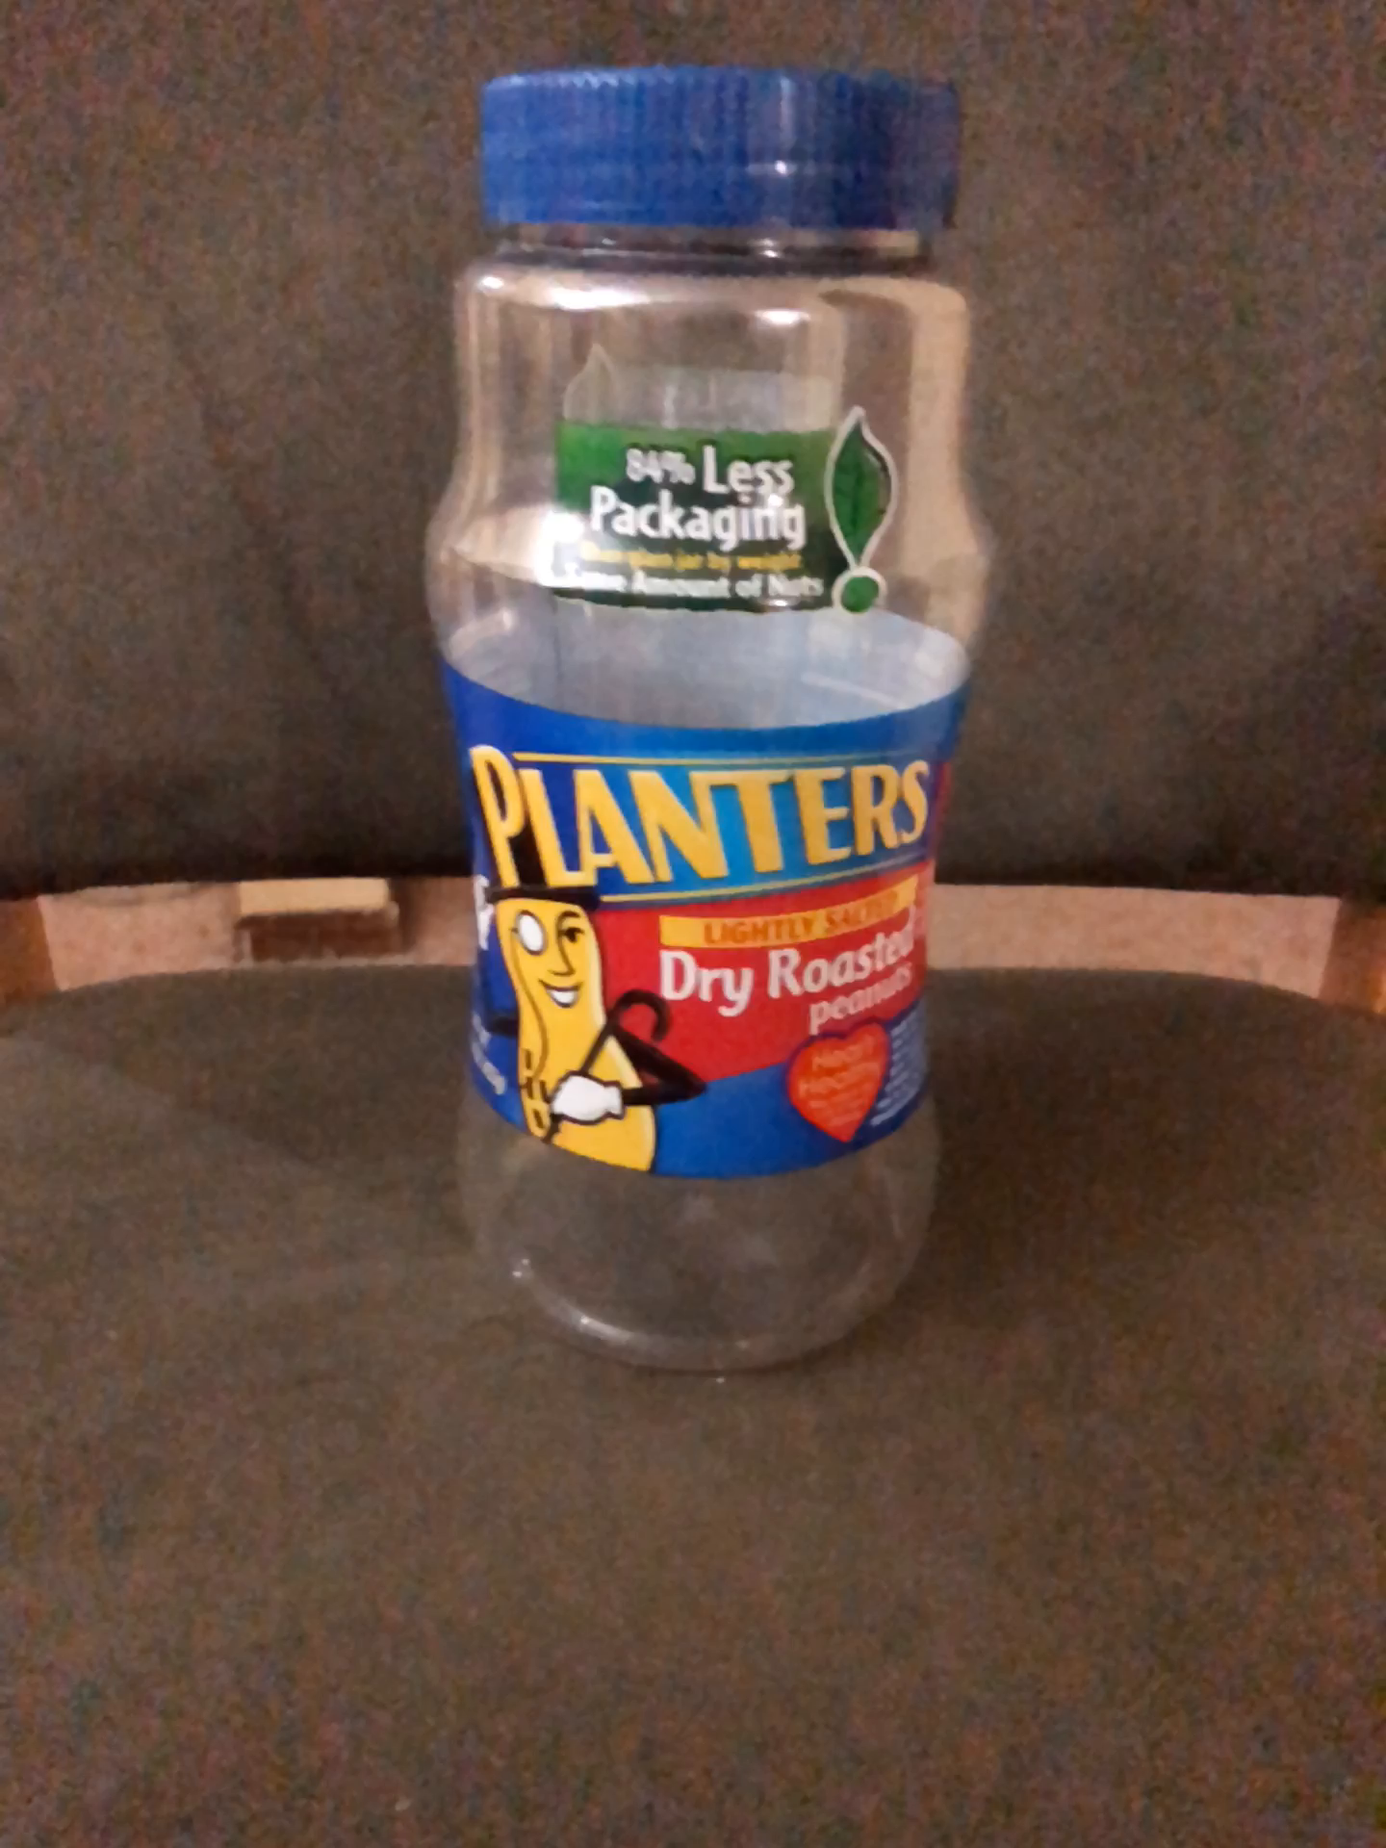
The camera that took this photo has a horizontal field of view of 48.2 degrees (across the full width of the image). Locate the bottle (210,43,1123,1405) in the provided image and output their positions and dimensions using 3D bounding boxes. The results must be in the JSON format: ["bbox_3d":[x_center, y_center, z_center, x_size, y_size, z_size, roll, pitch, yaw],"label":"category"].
[{"bbox_3d":[-0.003,-0.026,0.225,0.090,0.170,0.080,2,25,2],"label":"bottle"}]
